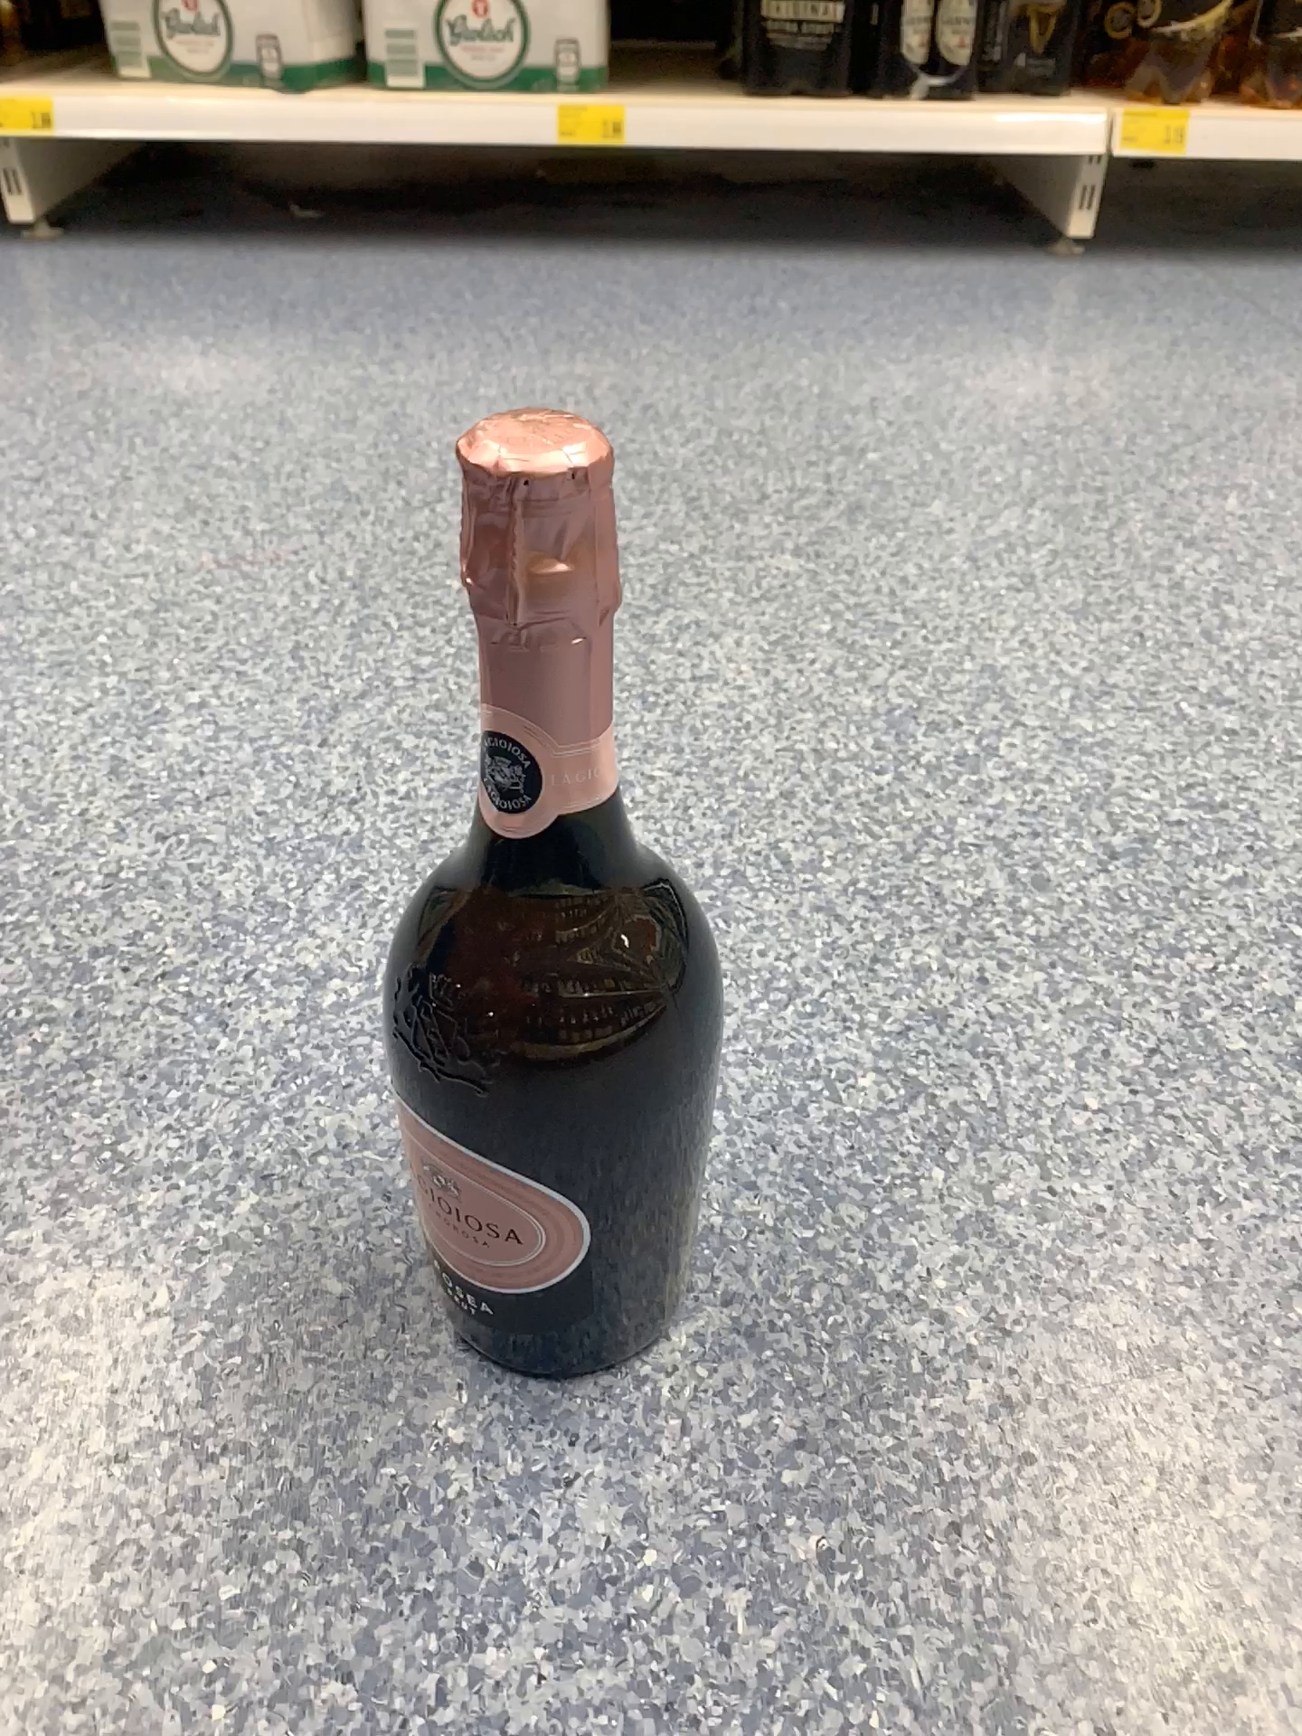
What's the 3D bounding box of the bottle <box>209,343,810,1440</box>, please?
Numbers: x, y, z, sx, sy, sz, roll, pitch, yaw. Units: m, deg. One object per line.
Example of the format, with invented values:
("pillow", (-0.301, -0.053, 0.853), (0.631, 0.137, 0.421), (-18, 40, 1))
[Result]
("bottle", (-0.031, 0.019, 0.352), (0.094, 0.268, 0.079), (28, 44, 31))
